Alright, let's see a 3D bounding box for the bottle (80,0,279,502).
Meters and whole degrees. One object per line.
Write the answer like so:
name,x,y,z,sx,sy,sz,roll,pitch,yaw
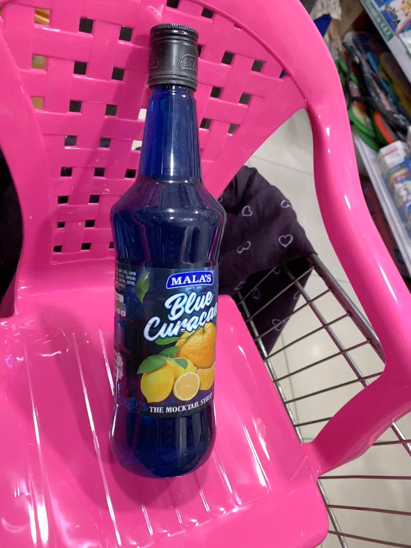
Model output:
bottle,-0.025,-0.012,0.265,0.080,0.270,0.080,4,14,-1
